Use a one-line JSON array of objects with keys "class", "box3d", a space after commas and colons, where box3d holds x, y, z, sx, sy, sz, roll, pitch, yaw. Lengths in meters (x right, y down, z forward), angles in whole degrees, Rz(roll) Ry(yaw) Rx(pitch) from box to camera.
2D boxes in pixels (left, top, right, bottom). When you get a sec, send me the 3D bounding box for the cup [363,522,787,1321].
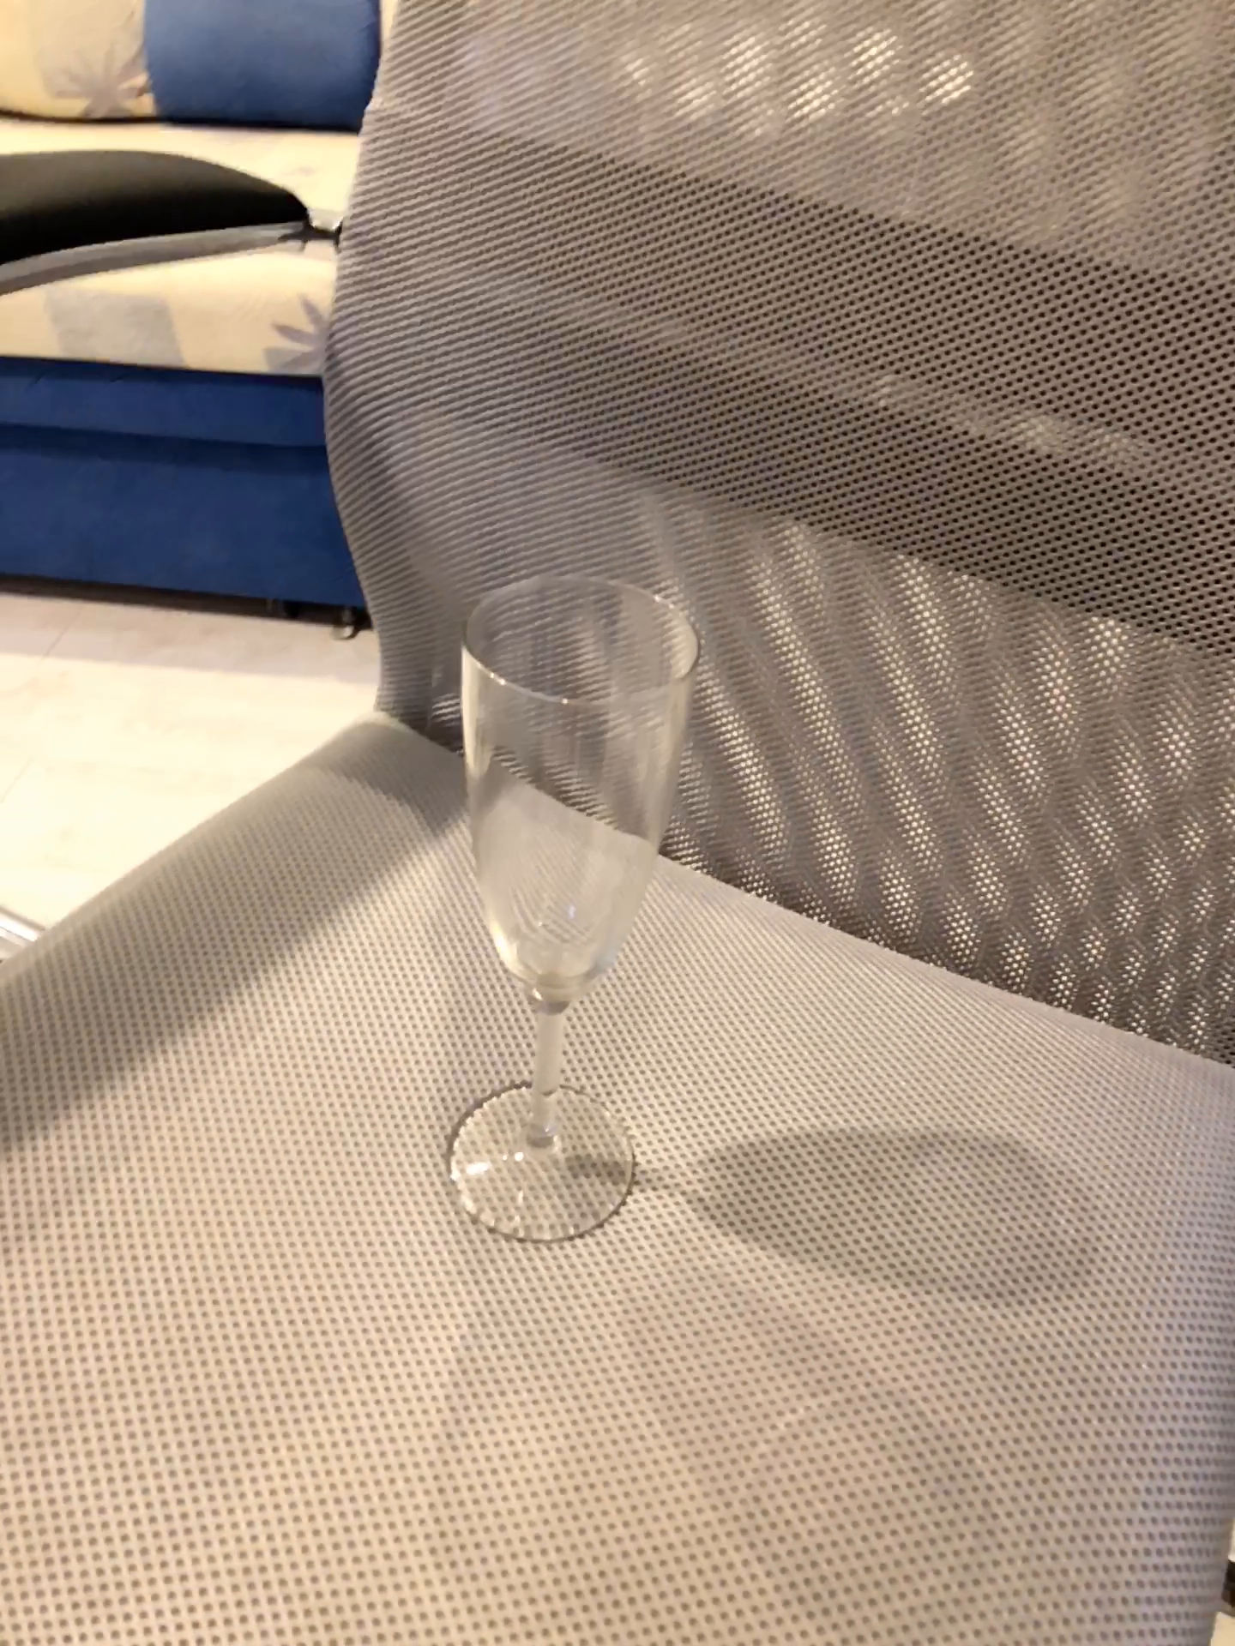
[{"class": "cup", "box3d": [-0.016, 0.039, 0.405, 0.075, 0.228, 0.075, 2, 39, -2]}]
